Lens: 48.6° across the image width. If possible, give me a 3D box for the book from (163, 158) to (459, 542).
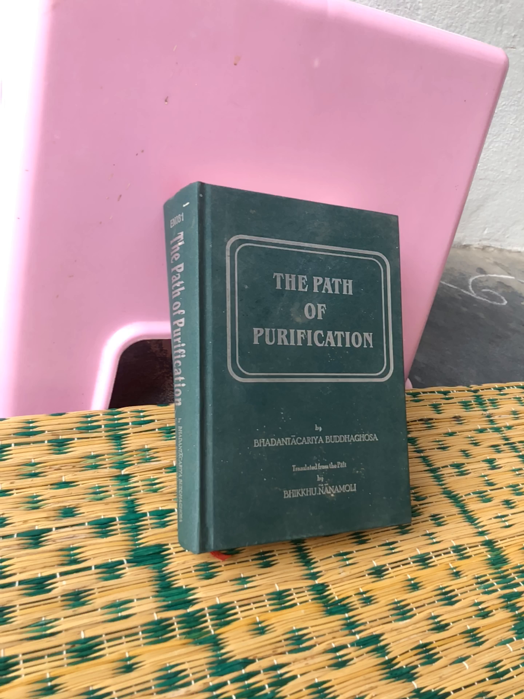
[{"bbox_3d":[0.027,0.003,0.381,0.160,0.080,0.210,1,78,-25],"label":"book"}]
